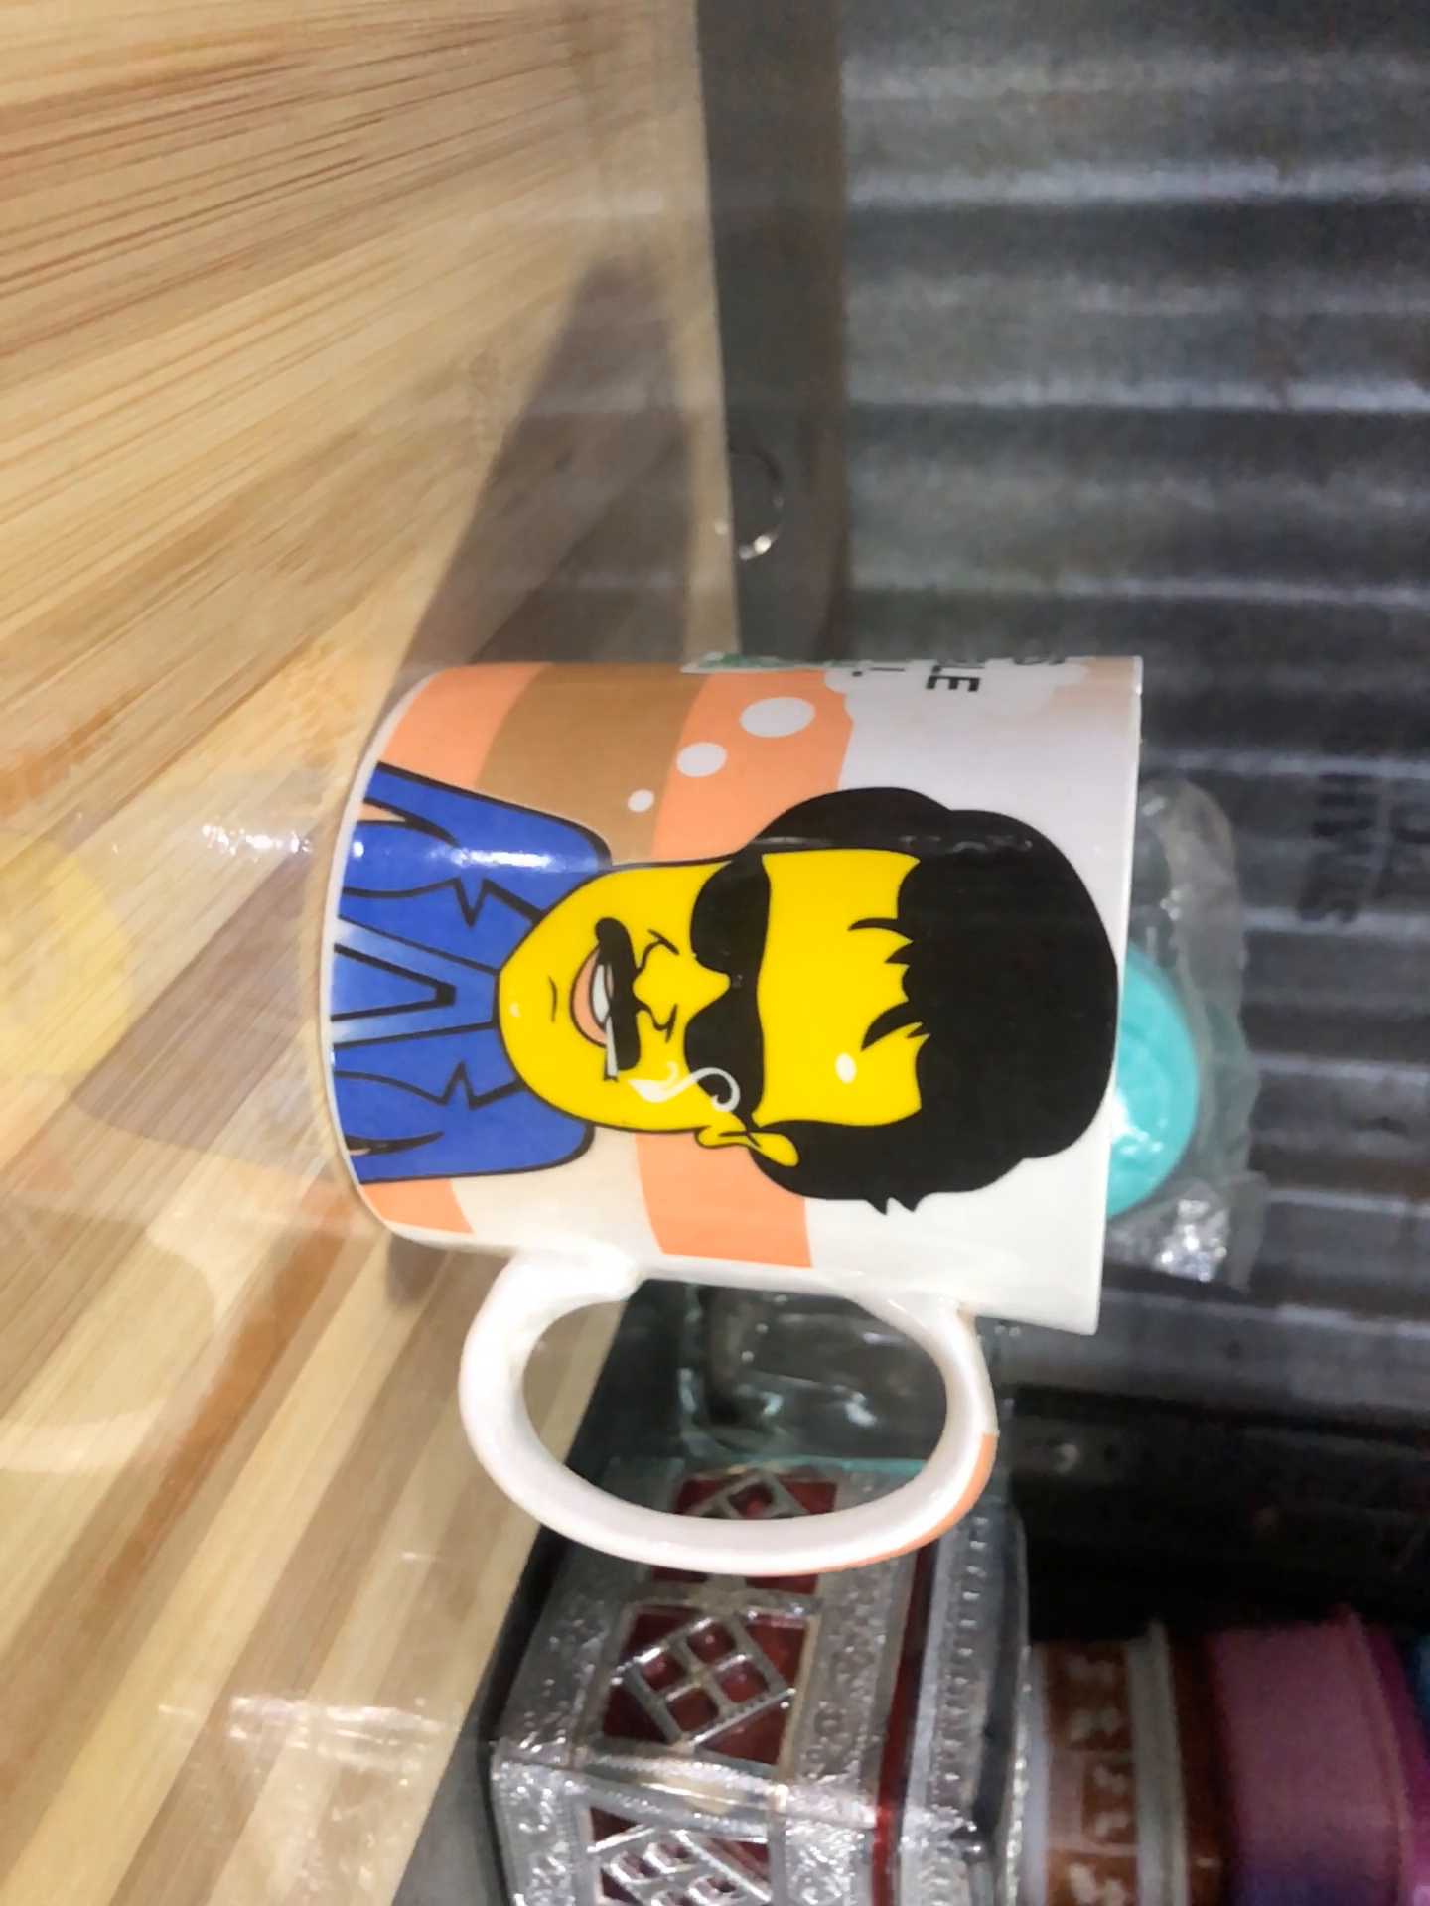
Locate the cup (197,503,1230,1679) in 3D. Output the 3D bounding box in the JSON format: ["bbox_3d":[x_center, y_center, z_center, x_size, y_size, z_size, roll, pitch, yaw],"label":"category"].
[{"bbox_3d":[0.008,0.015,0.190,0.070,0.090,0.110,59,37,-71],"label":"cup"}]
